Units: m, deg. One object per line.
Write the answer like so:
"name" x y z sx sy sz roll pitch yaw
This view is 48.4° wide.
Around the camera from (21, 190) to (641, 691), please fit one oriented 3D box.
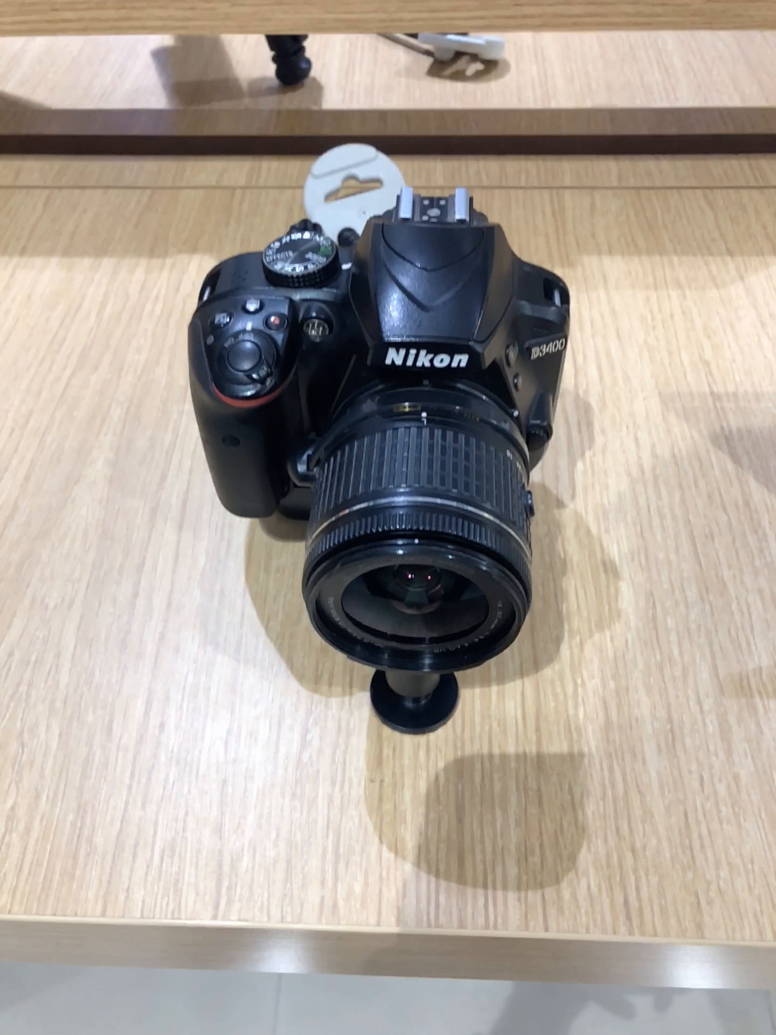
"camera" -0.010 -0.025 0.255 0.133 0.084 0.121 1 50 2
